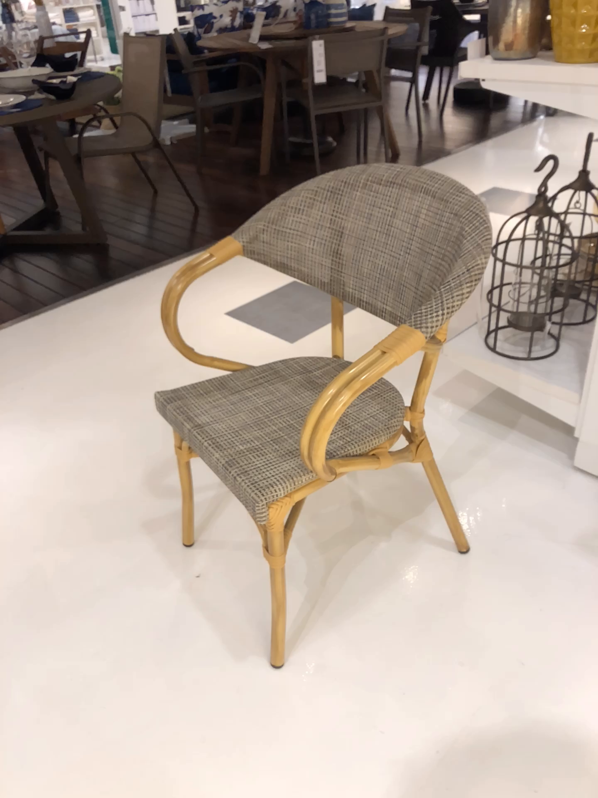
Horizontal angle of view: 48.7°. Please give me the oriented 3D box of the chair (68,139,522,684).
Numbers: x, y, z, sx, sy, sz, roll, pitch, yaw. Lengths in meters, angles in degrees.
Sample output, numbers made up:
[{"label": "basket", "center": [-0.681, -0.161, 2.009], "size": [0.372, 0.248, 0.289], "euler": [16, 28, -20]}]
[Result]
[{"label": "chair", "center": [0.001, -0.016, 1.318], "size": [0.571, 0.784, 0.523], "euler": [-23, 37, -26]}]
